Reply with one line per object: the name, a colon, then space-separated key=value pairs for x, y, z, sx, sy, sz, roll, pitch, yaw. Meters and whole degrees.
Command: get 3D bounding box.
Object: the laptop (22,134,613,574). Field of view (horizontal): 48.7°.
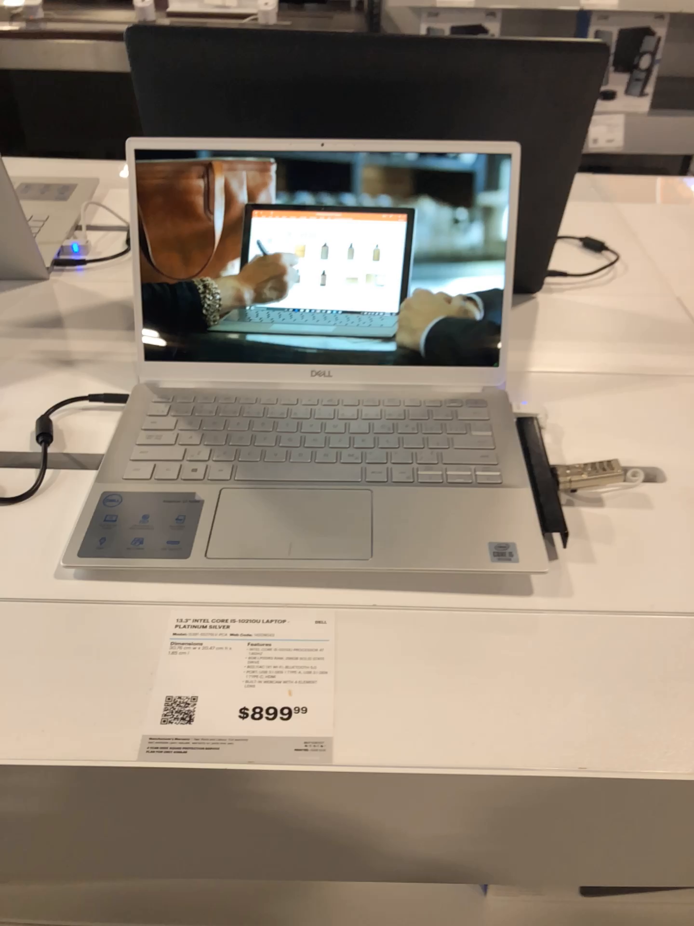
laptop: x=-0.014 y=-0.094 z=0.540 sx=0.293 sy=0.165 sz=0.294 roll=1 pitch=40 yaw=3
